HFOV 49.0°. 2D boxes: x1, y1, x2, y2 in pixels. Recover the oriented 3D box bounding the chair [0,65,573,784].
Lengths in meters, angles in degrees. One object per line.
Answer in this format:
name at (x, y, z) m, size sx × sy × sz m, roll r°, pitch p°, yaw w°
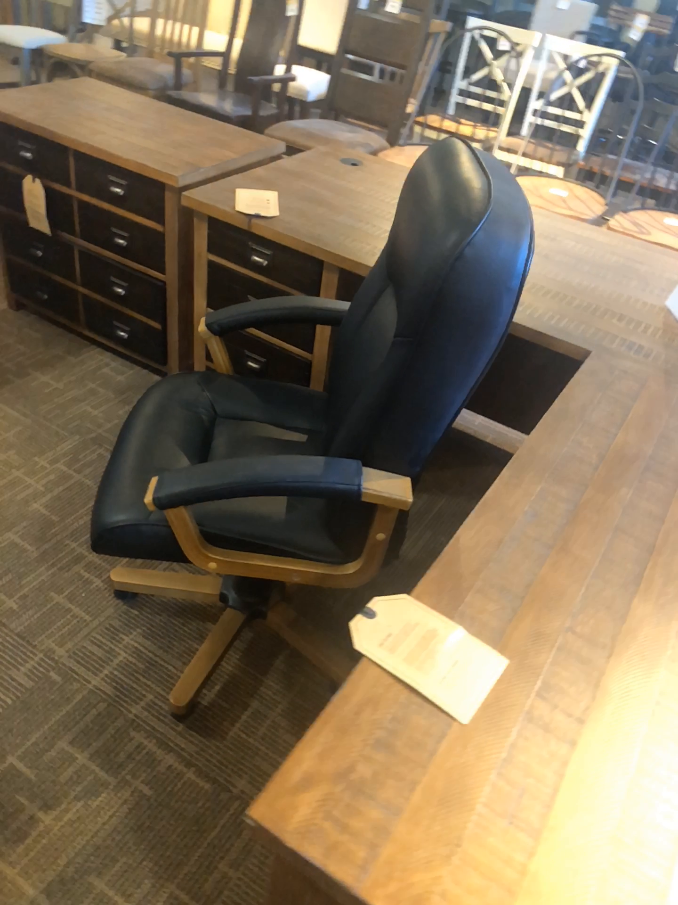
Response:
chair at (-0.133, -0.037, 1.484) m, size 0.741 × 1.104 × 0.742 m, roll 9°, pitch 37°, yaw 0°
